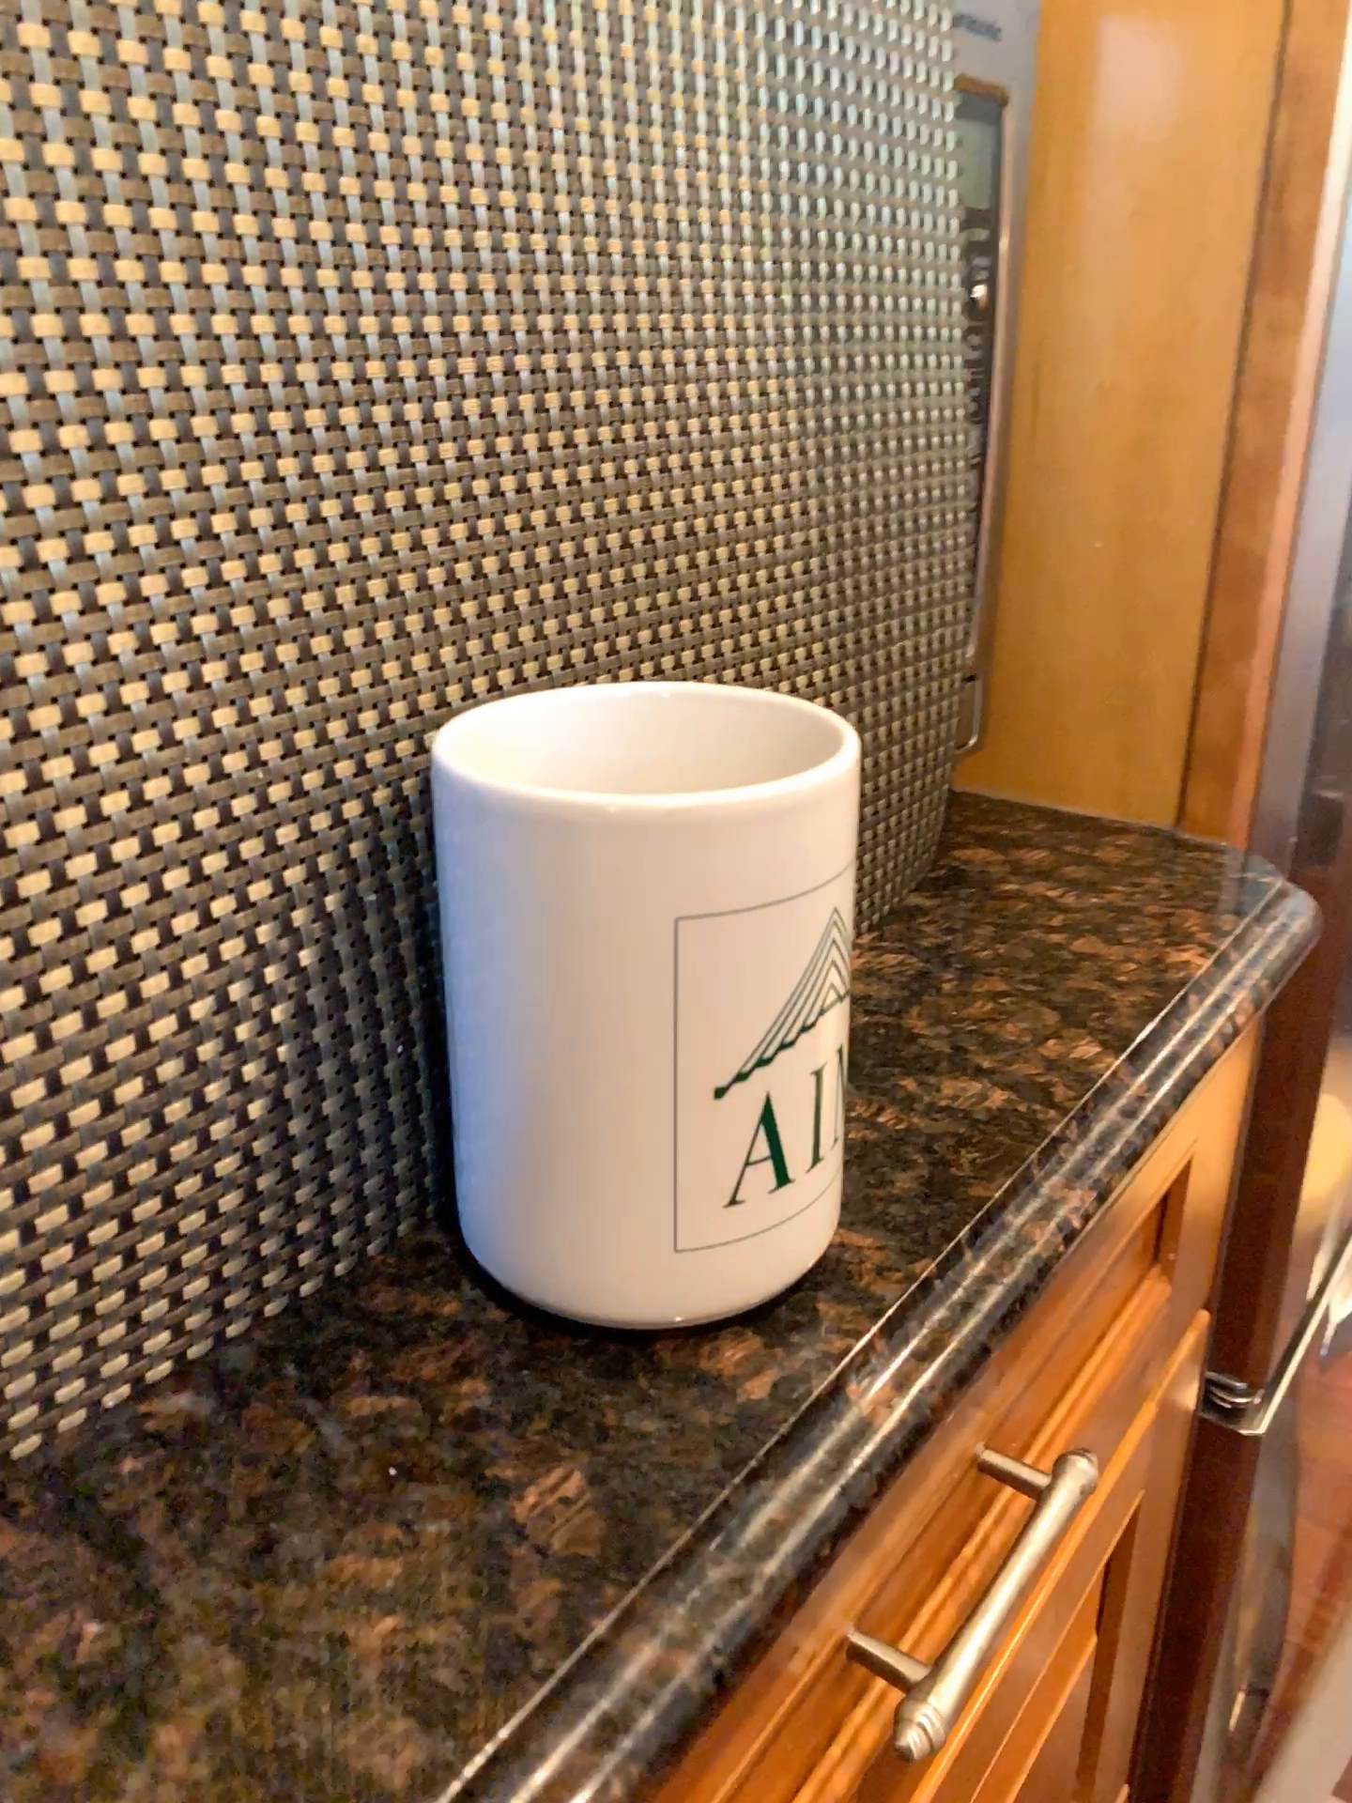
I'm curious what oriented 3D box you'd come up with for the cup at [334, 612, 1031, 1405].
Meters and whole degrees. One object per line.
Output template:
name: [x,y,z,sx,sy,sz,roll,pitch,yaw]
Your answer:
cup: [0.010,0.008,0.297,0.090,0.109,0.130,10,24,25]
